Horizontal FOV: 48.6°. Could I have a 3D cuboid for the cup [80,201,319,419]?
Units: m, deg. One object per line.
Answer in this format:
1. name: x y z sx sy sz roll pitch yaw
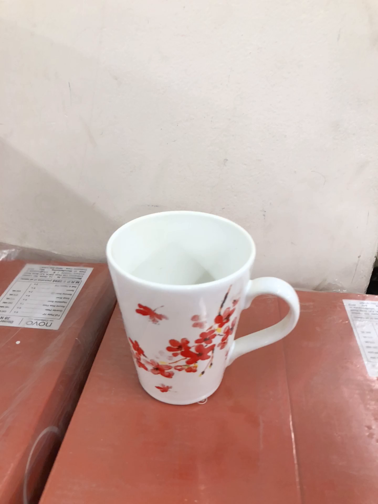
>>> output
1. cup: 0.005 0.033 0.253 0.110 0.099 0.081 1 32 1
